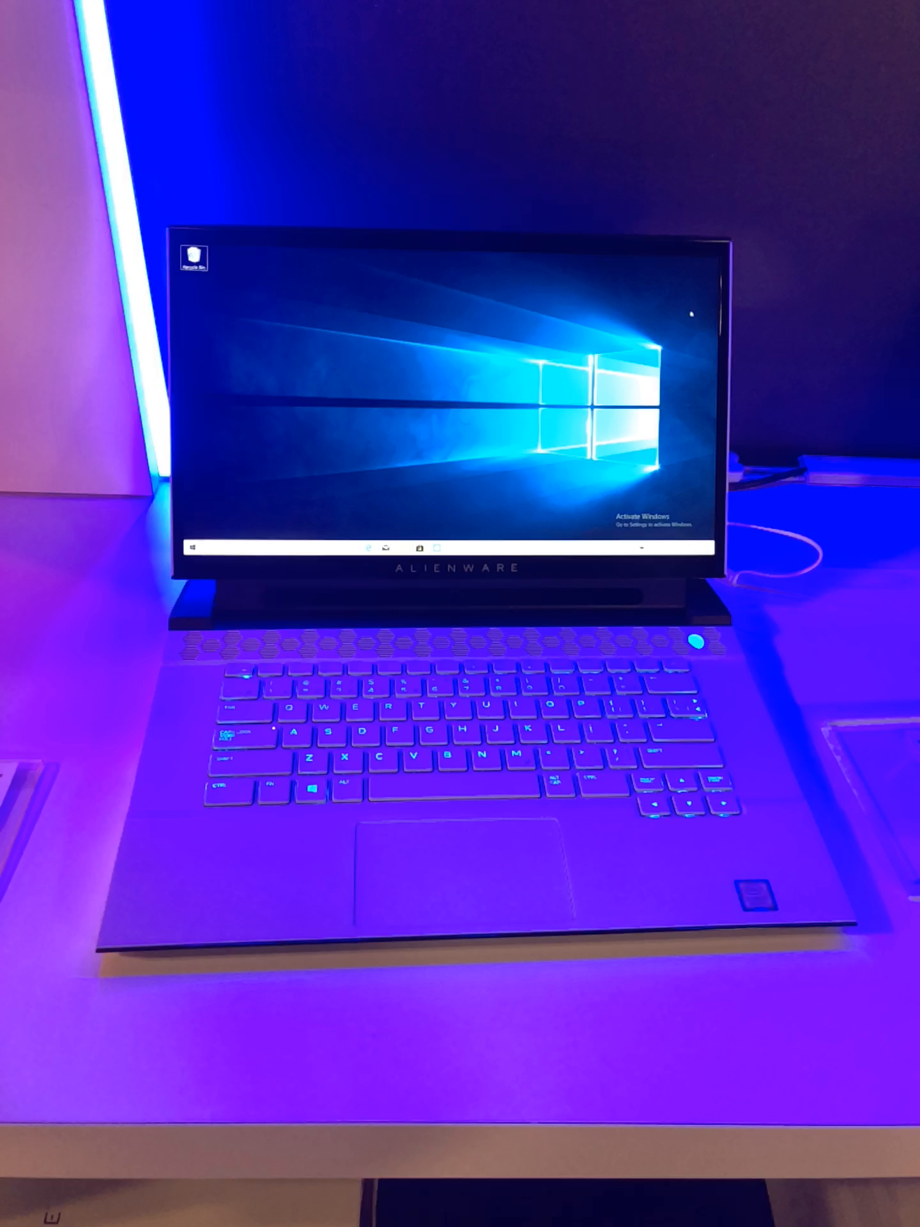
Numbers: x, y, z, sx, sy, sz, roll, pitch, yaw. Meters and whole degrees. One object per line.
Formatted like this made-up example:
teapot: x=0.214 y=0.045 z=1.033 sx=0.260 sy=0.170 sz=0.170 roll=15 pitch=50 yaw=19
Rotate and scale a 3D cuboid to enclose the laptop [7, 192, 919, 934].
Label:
laptop: x=0.004 y=-0.055 z=0.559 sx=0.356 sy=0.194 sz=0.381 roll=0 pitch=42 yaw=-5
